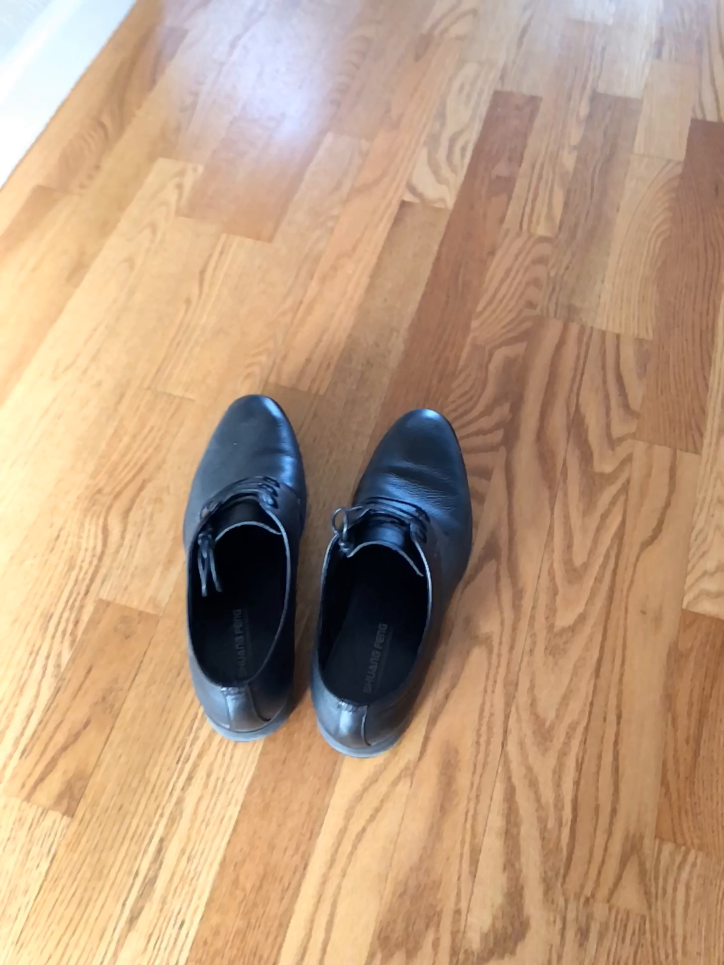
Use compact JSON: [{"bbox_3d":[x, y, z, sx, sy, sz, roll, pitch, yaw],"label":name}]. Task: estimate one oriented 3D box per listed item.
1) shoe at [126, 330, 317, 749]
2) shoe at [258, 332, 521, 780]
[{"bbox_3d":[-0.096,0.039,0.632,0.110,0.124,0.304,-2,60,0],"label":"shoe"},{"bbox_3d":[0.031,0.049,0.608,0.110,0.124,0.300,13,61,9],"label":"shoe"}]
